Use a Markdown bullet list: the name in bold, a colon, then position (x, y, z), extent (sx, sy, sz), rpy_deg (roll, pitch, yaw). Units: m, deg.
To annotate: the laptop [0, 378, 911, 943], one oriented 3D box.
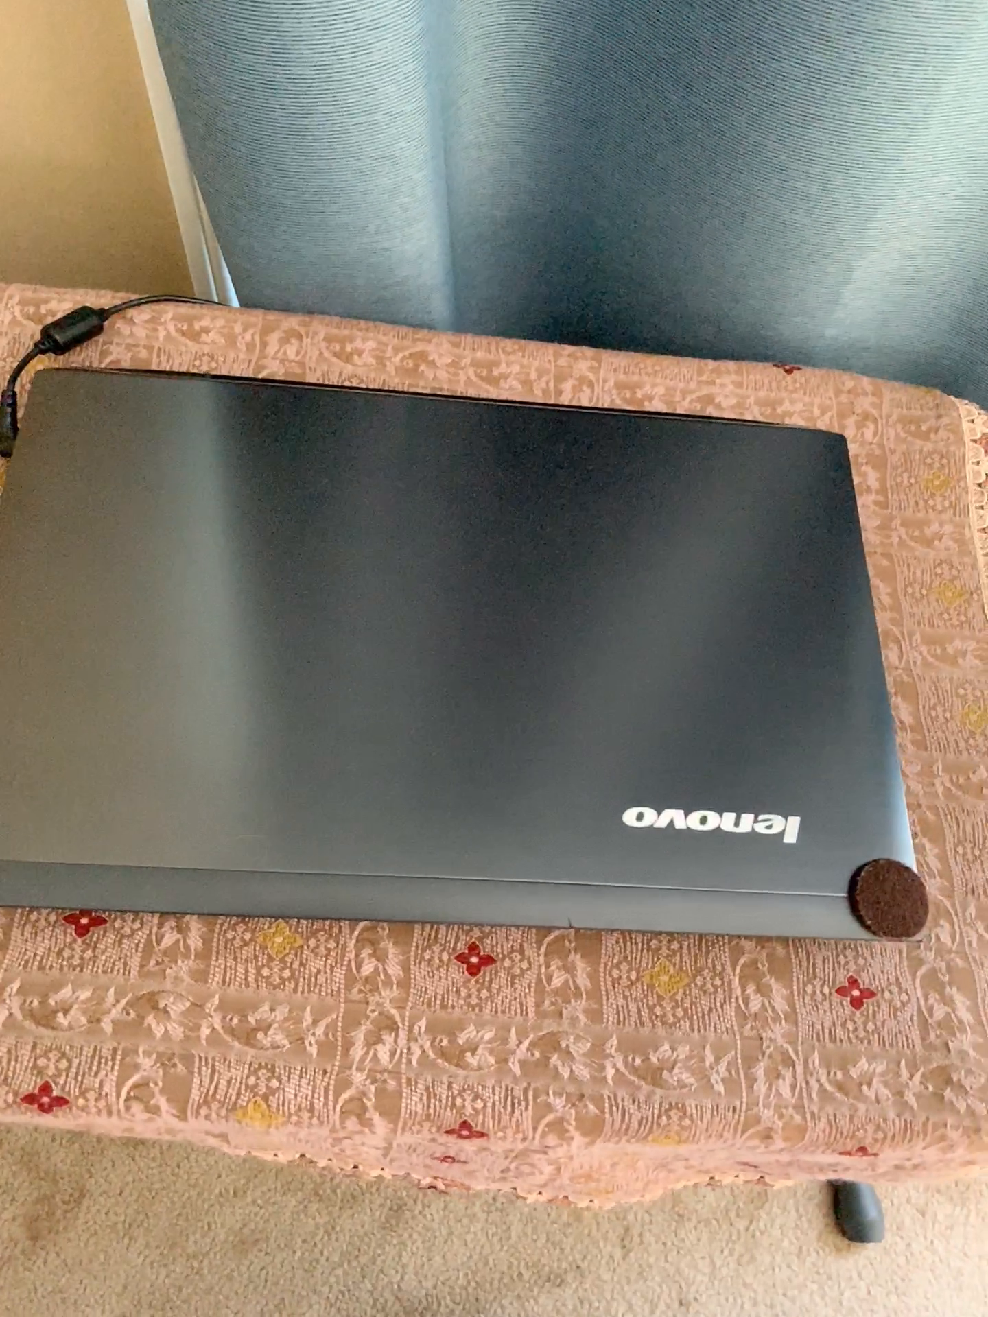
- **laptop**: position (-0.023, -0.008, 0.405), extent (0.356, 0.011, 0.223), rpy_deg (3, 66, -3)
